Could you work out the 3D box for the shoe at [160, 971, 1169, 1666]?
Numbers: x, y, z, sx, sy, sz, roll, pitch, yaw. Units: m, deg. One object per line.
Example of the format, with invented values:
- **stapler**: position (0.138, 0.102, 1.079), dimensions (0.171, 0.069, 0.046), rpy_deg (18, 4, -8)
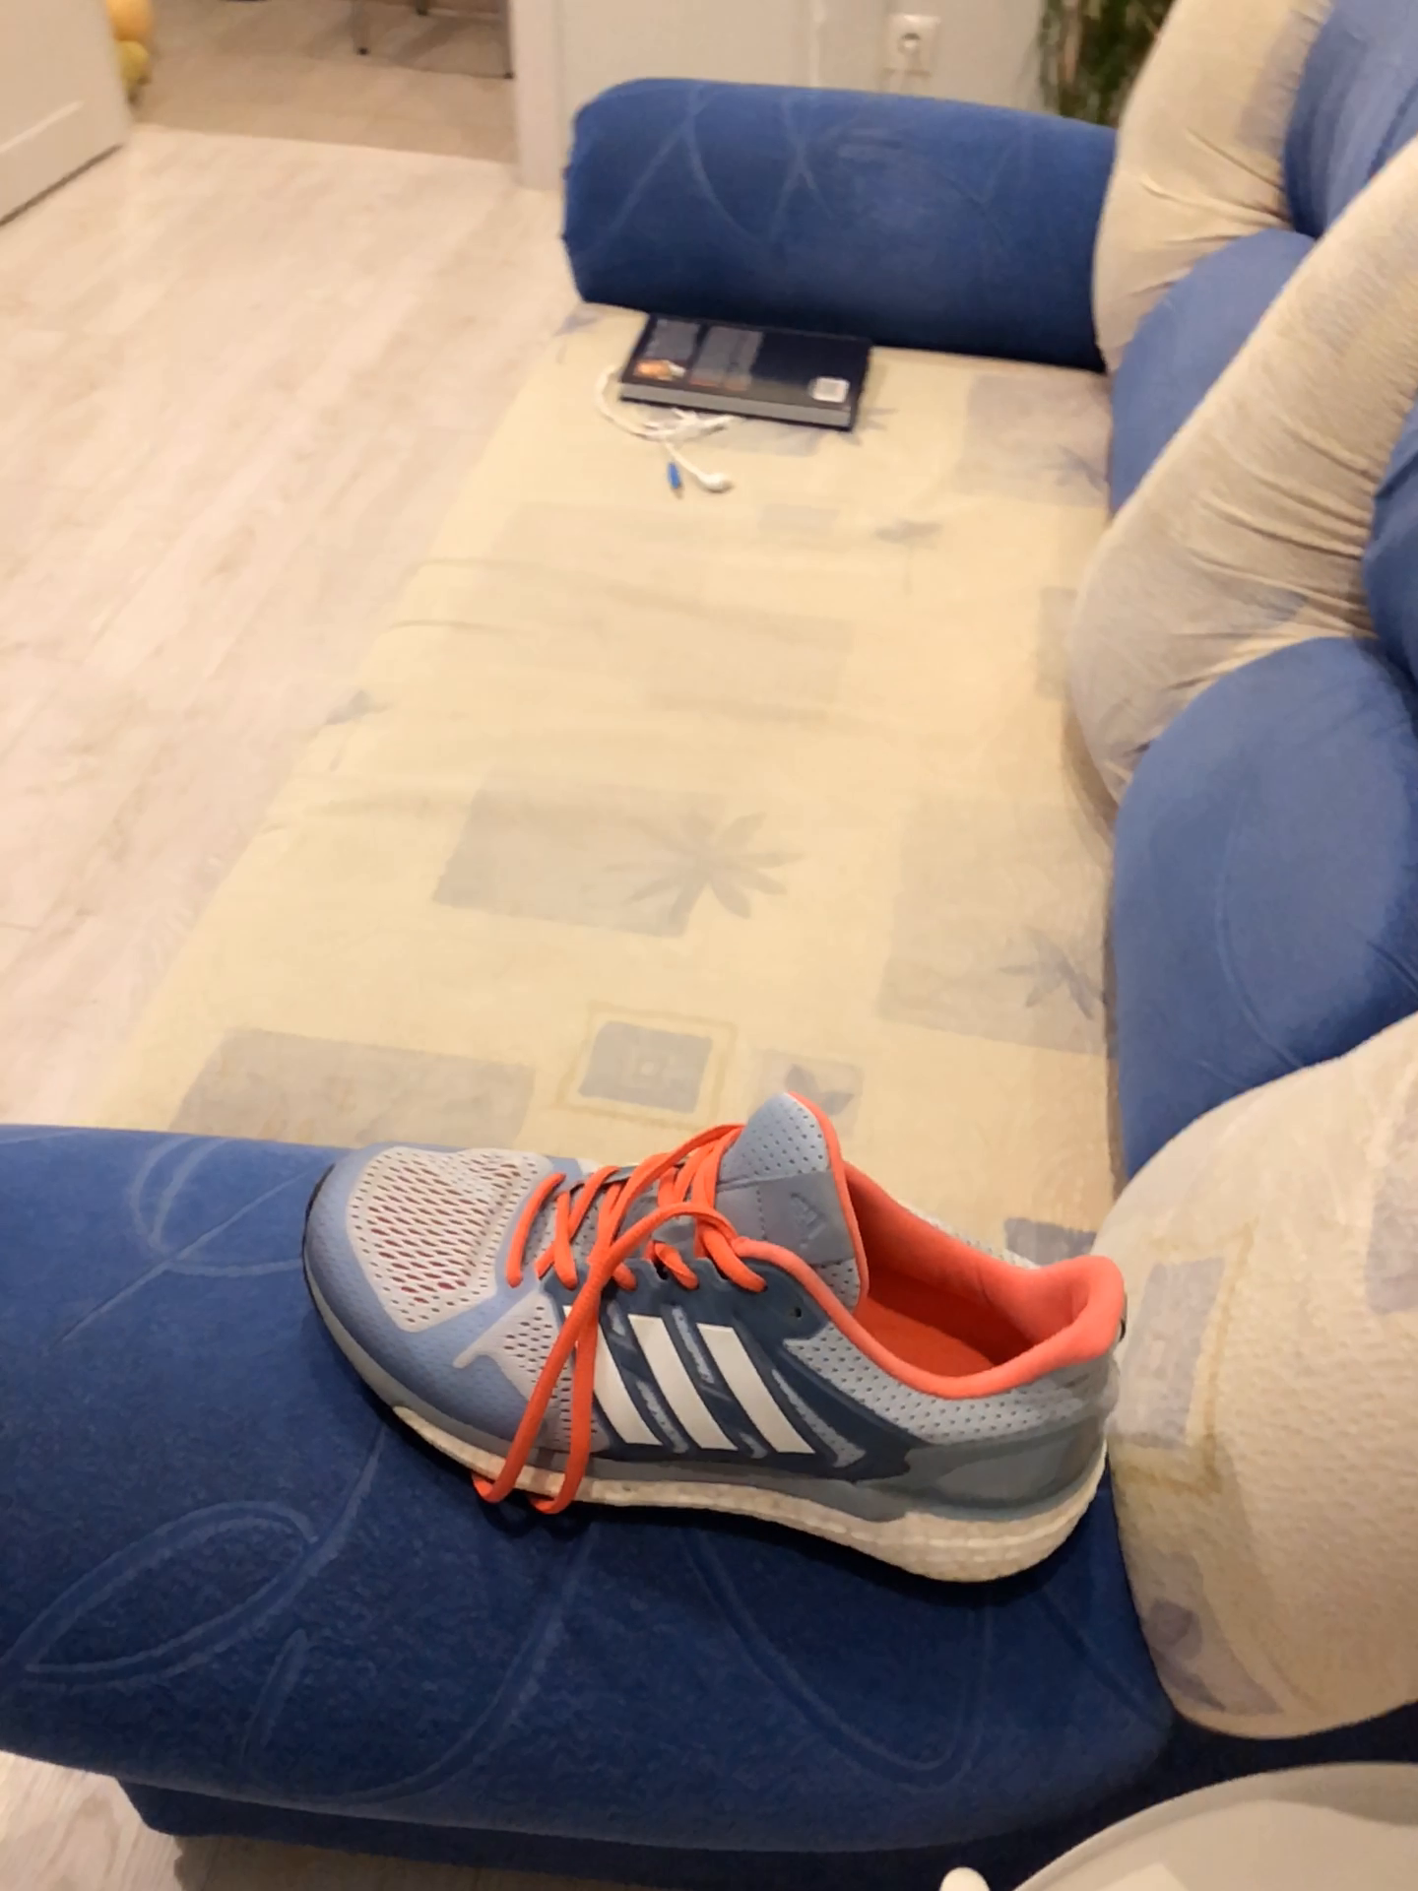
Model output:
- **shoe**: position (-0.010, 0.111, 0.486), dimensions (0.270, 0.109, 0.108), rpy_deg (12, 46, 10)
